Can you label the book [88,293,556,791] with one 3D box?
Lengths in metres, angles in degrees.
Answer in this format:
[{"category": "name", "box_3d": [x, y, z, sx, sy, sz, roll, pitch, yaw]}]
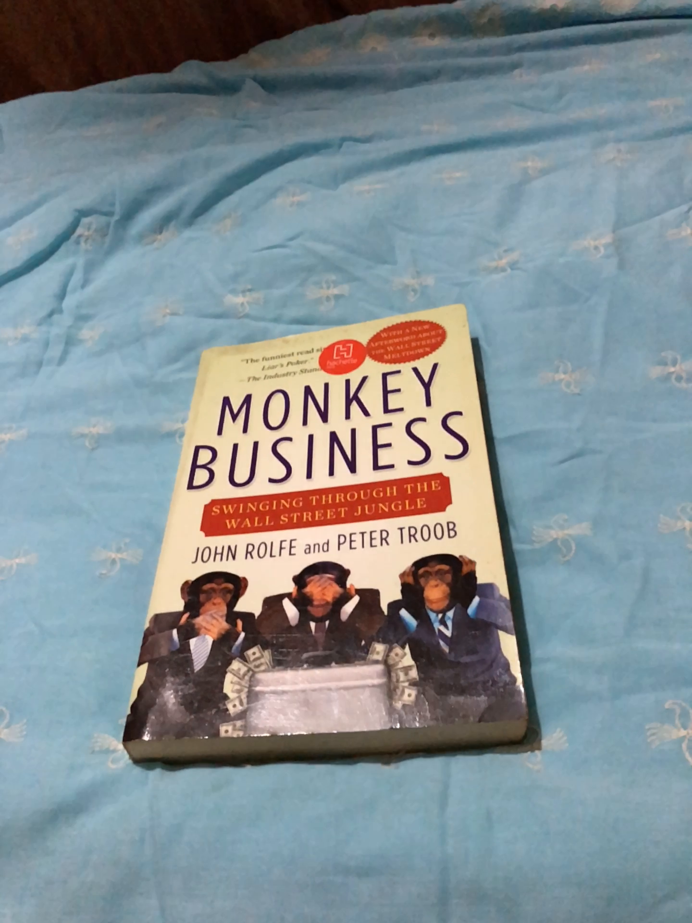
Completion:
[{"category": "book", "box_3d": [-0.007, 0.022, 0.367, 0.170, 0.040, 0.241, -6, 49, 9]}]
